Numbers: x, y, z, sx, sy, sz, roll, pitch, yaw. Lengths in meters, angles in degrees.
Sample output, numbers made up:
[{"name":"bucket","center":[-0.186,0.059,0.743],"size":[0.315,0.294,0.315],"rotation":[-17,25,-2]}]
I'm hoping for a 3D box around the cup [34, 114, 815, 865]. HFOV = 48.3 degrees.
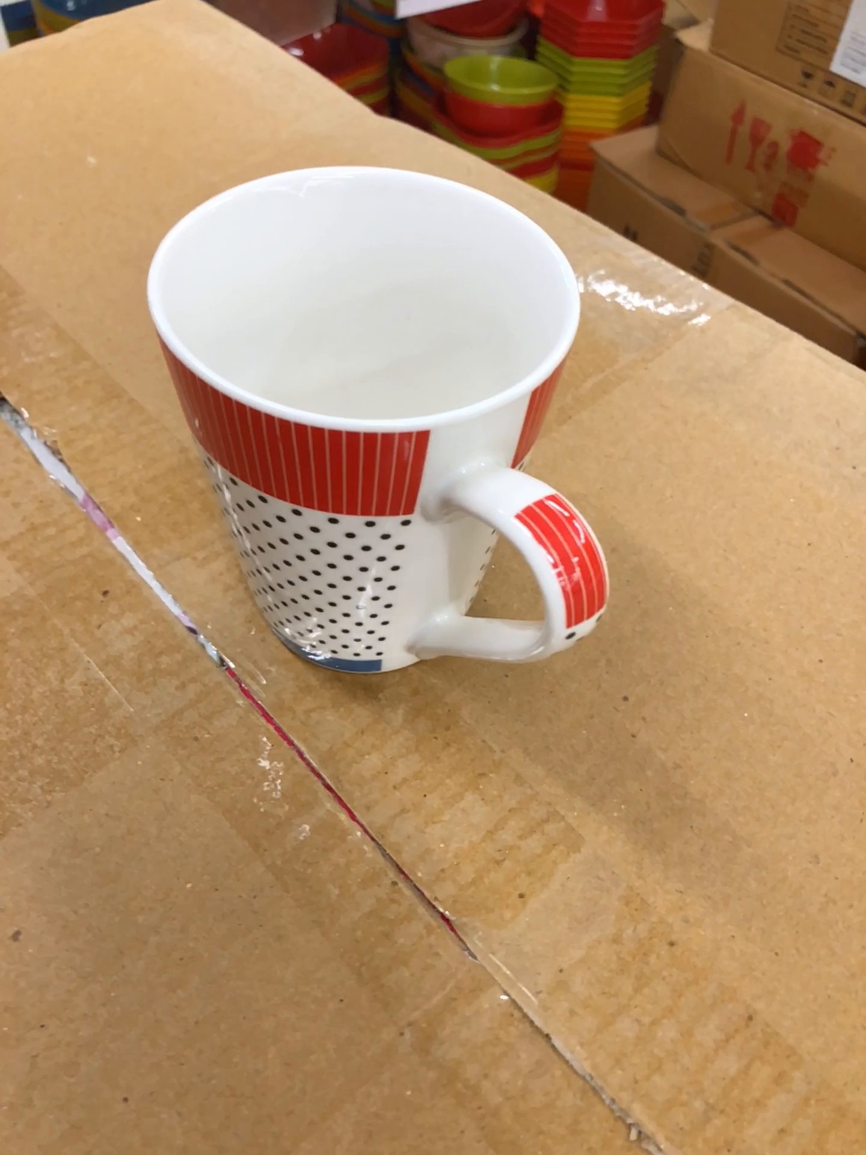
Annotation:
[{"name":"cup","center":[-0.005,-0.025,0.218],"size":[0.120,0.089,0.090],"rotation":[37,57,25]}]
